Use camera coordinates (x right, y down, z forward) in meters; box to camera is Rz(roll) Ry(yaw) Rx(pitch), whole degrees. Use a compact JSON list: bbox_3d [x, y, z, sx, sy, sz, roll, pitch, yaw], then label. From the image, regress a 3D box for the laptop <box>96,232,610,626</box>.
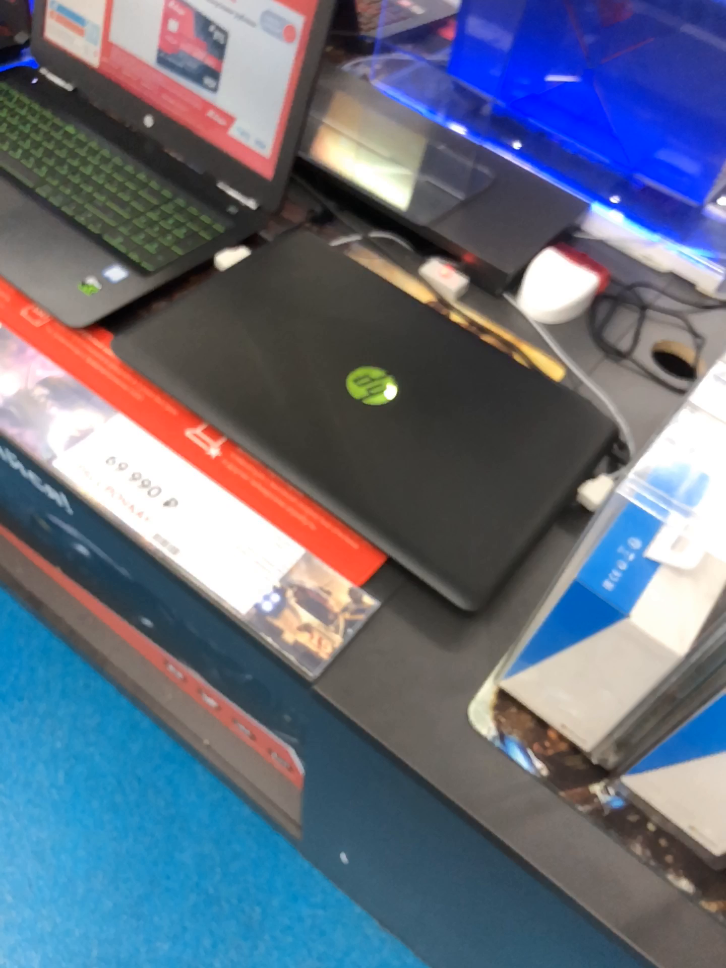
[{"bbox_3d":[-0.004,-0.075,0.686,0.372,0.006,0.240,35,55,16],"label":"laptop"}]
